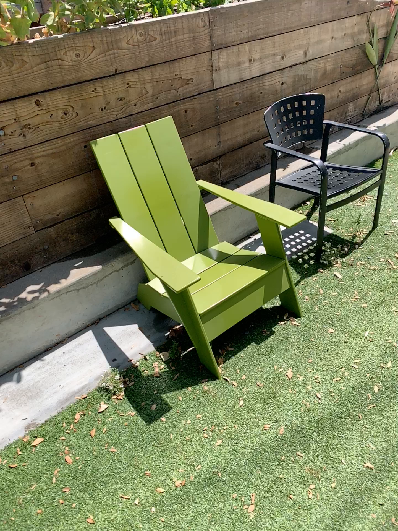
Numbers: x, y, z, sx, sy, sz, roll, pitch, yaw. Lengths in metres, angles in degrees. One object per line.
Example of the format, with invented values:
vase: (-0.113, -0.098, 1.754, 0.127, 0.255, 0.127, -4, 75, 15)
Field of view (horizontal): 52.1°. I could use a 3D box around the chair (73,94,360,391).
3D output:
chair: (0.054, -0.182, 1.847, 0.721, 0.845, 0.905, -27, 41, -27)
